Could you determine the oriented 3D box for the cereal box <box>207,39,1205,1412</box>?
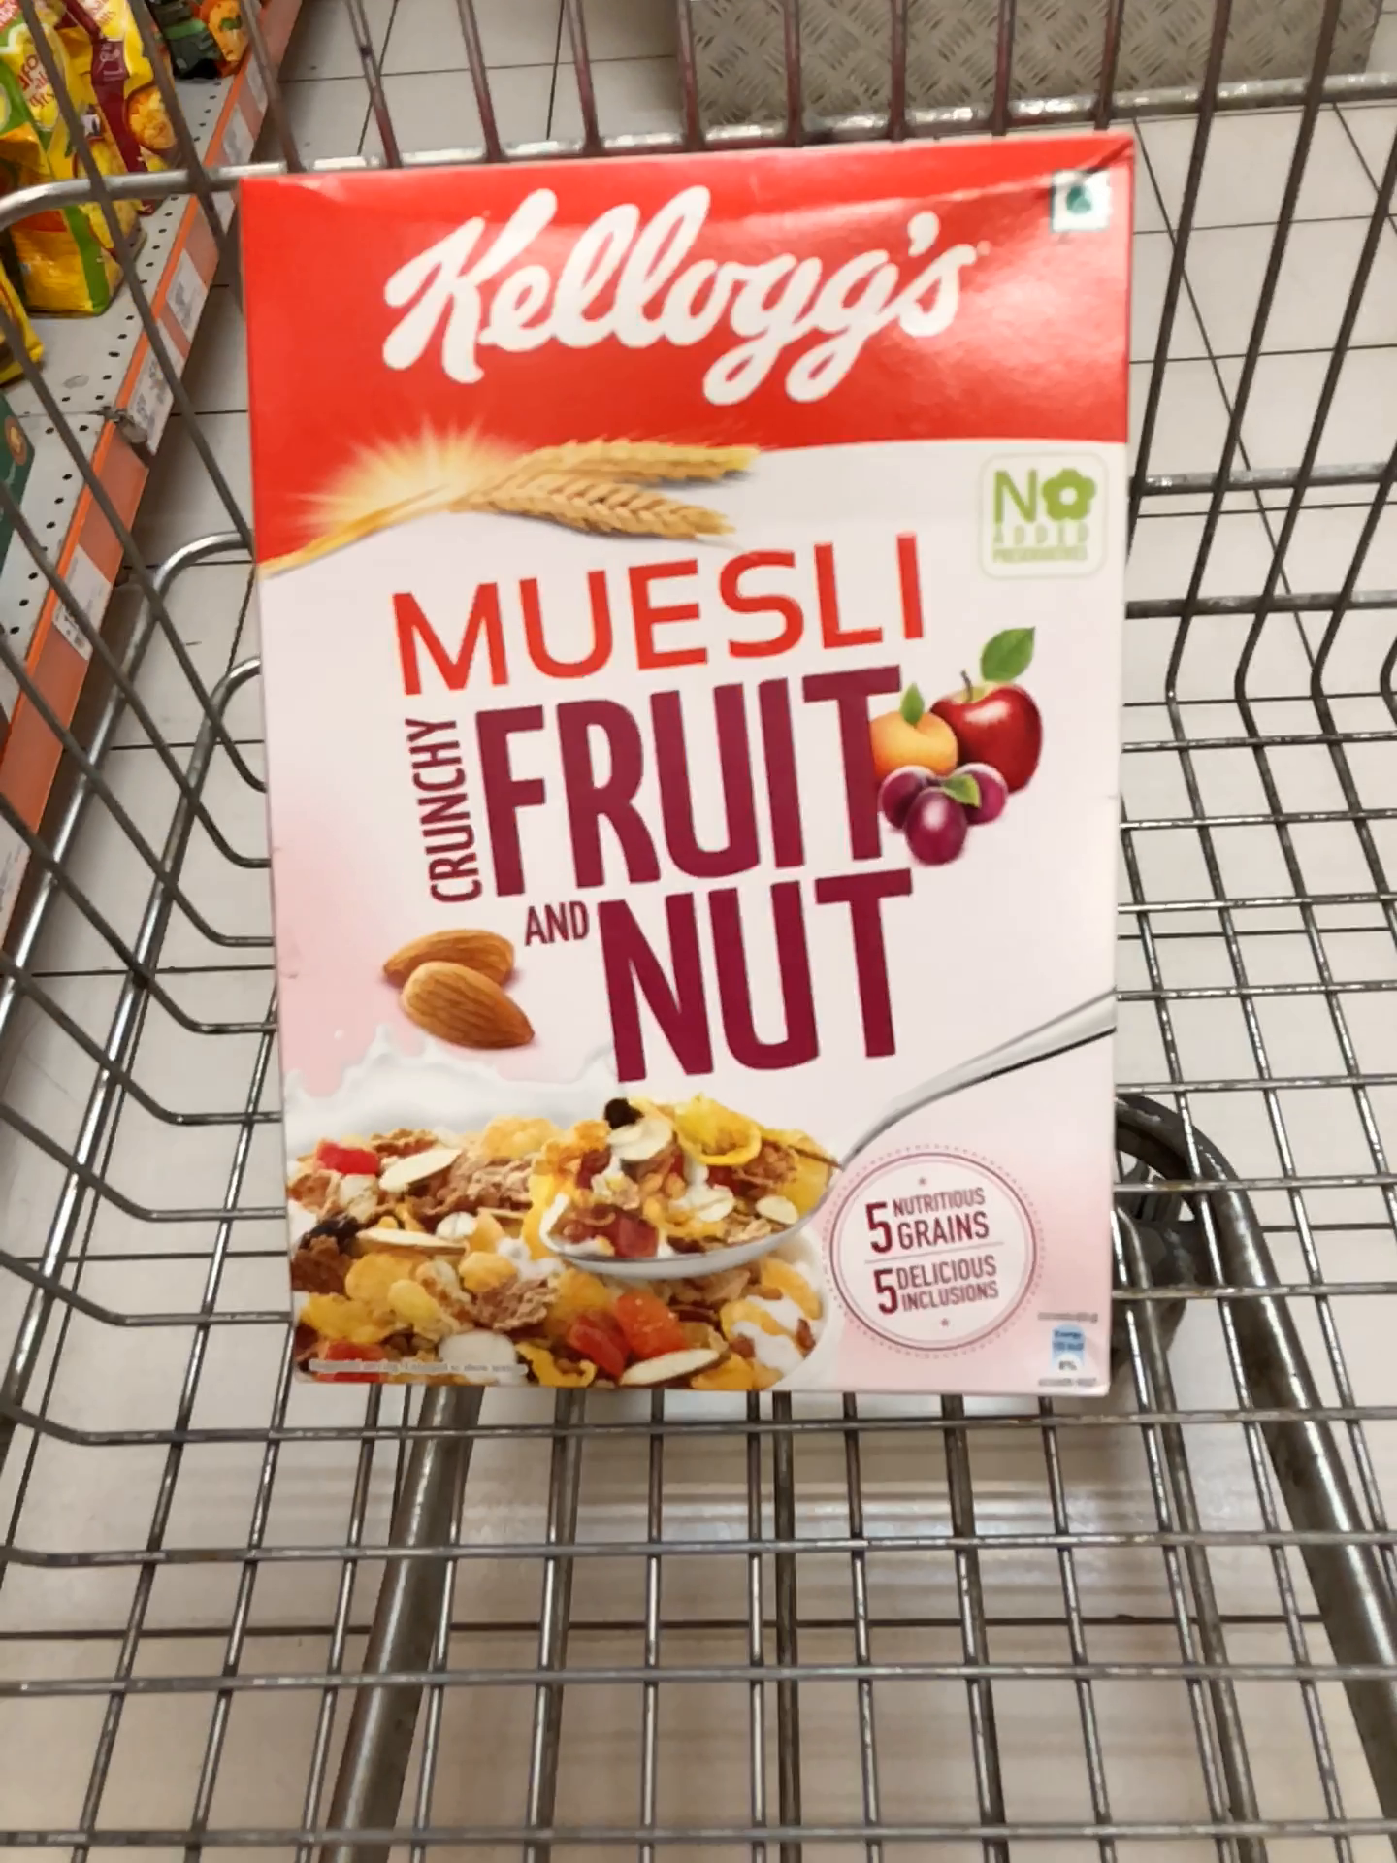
[{"bbox_3d":[0.002,-0.038,0.345,0.190,0.070,0.270,1,99,5],"label":"cereal box"}]
